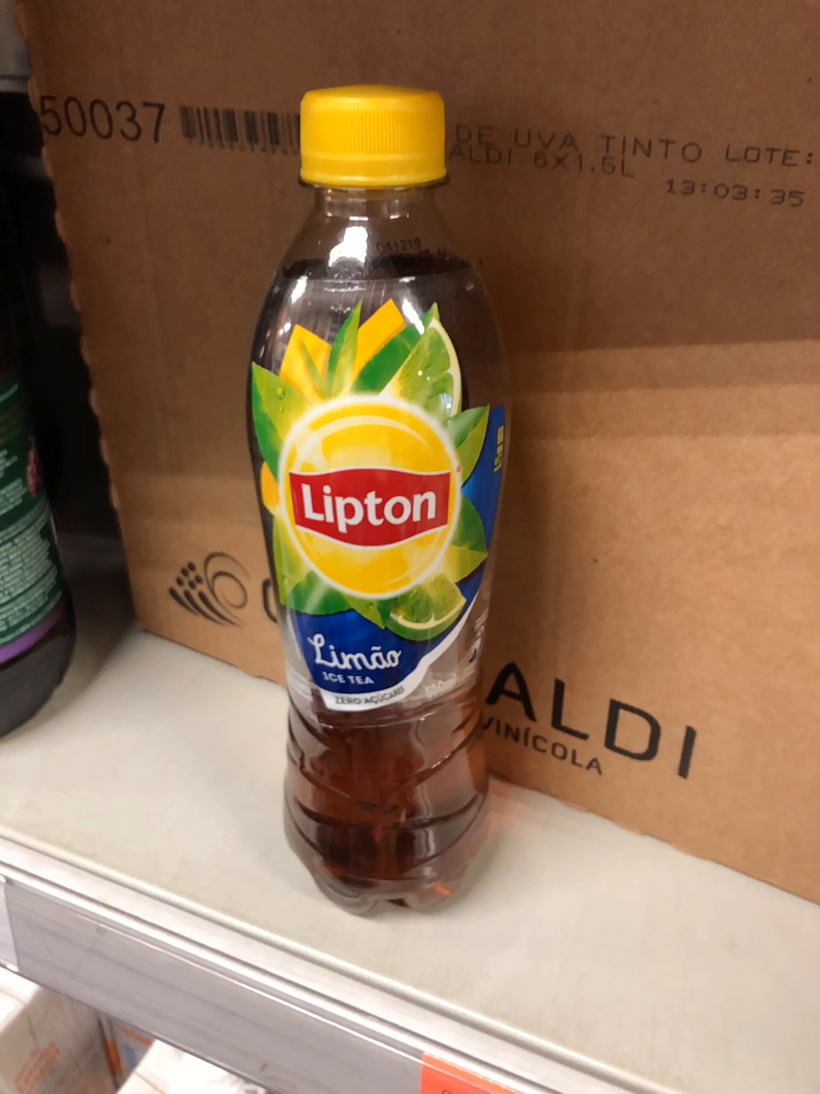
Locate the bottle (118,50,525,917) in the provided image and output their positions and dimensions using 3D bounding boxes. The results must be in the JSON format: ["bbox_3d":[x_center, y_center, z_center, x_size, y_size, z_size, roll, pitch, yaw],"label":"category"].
[{"bbox_3d":[-0.010,-0.002,0.239,0.070,0.218,0.060,1,32,5],"label":"bottle"}]
